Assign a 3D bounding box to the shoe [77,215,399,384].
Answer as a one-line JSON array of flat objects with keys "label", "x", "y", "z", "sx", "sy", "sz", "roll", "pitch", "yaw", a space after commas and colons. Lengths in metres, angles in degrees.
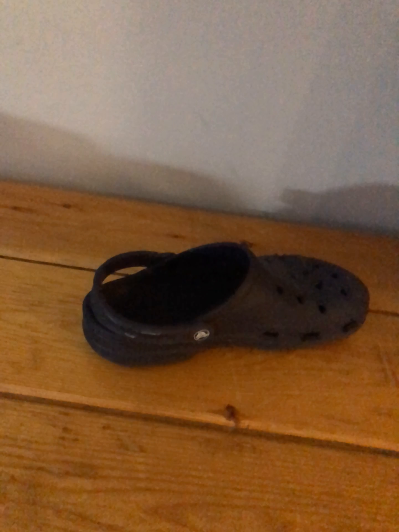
[{"label": "shoe", "x": 0.033, "y": 0.025, "z": 0.440, "sx": 0.290, "sy": 0.080, "sz": 0.130, "roll": -3, "pitch": 43, "yaw": -11}]
